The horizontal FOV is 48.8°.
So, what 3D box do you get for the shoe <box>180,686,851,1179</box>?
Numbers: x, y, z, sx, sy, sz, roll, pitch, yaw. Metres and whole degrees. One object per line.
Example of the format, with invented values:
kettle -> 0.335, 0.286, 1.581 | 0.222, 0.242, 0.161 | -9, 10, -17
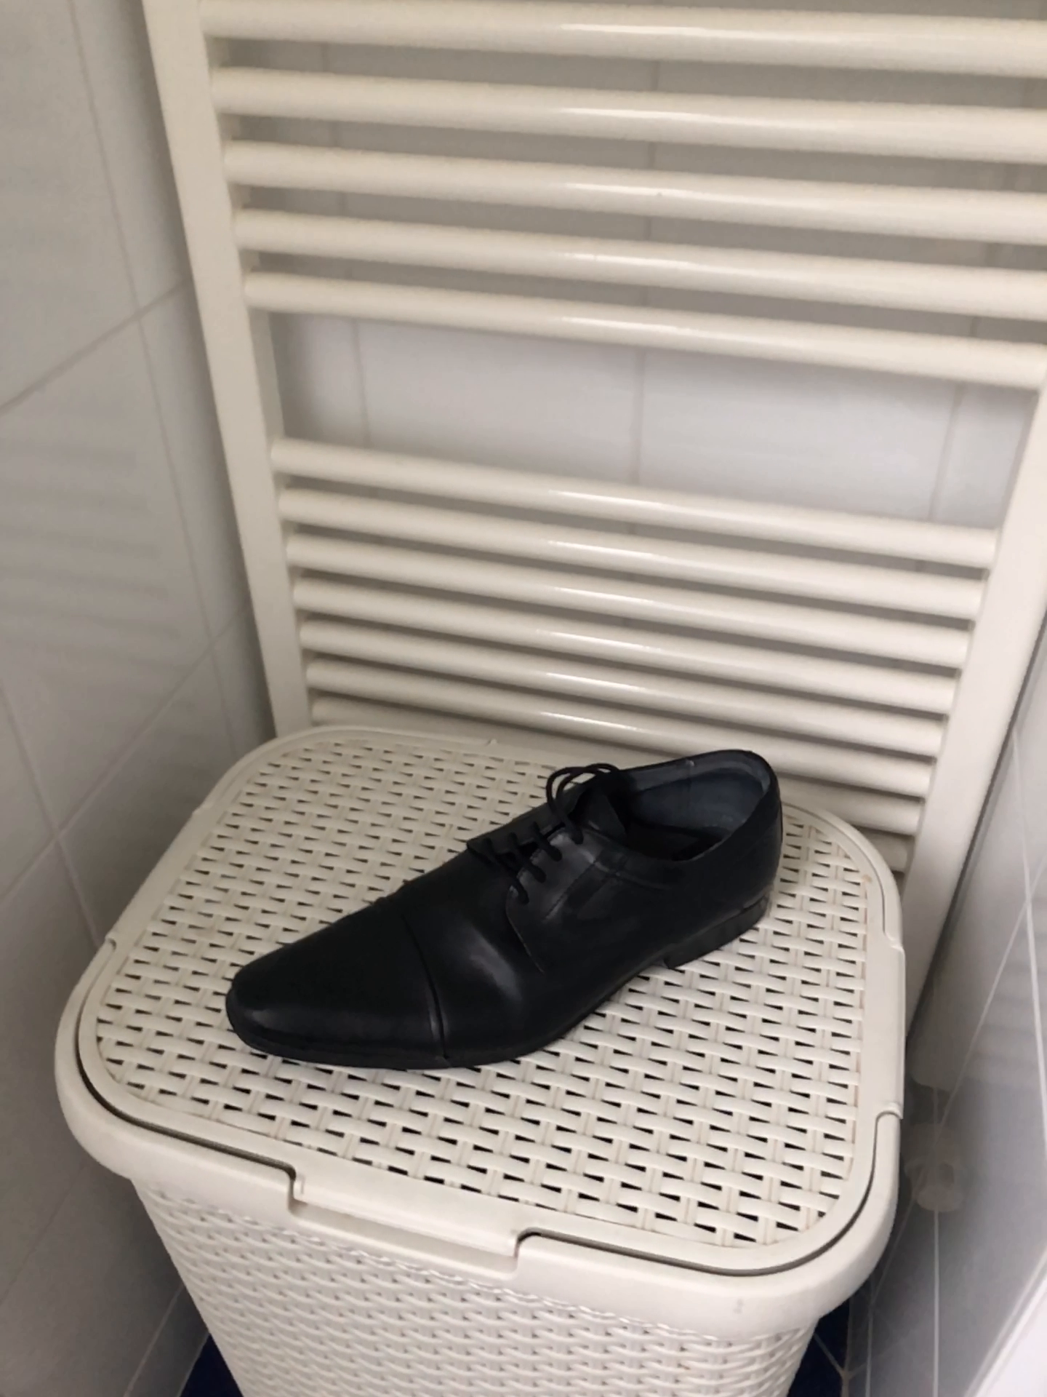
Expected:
shoe -> 0.001, 0.107, 0.592 | 0.311, 0.099, 0.110 | -18, 41, -20
